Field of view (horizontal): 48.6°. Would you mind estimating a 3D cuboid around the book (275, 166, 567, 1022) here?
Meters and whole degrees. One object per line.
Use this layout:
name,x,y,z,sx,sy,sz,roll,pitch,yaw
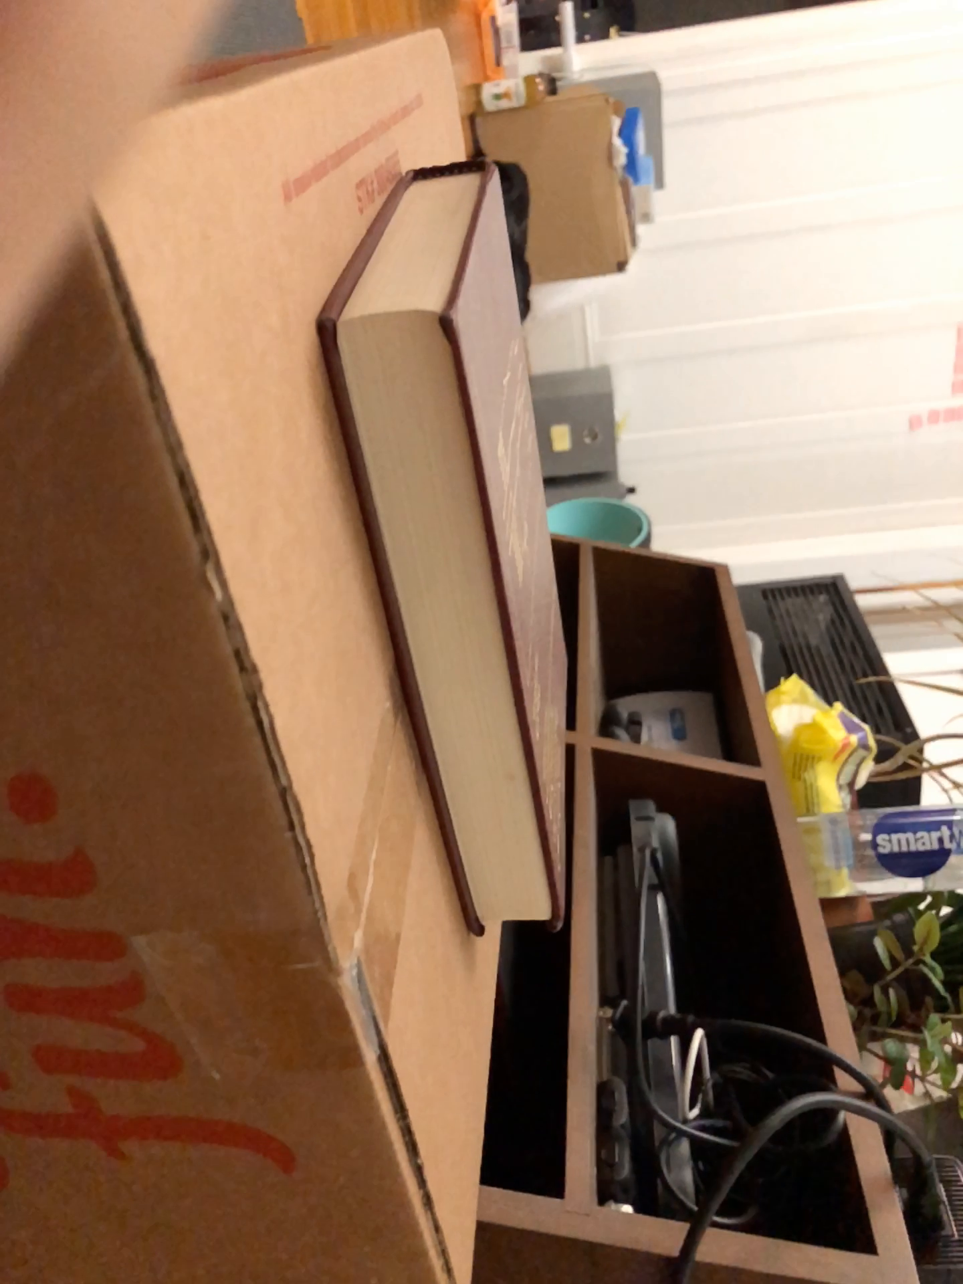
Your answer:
book,-0.002,-0.020,0.383,0.190,0.040,0.240,-83,166,-55
